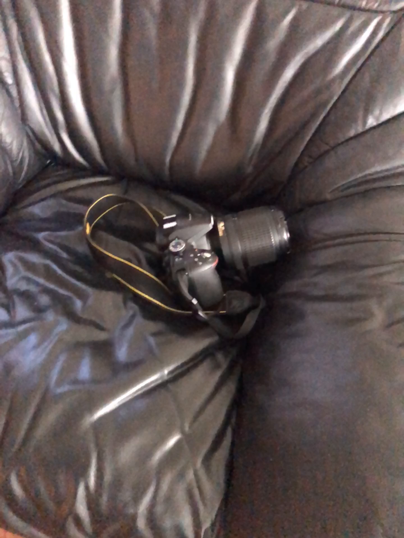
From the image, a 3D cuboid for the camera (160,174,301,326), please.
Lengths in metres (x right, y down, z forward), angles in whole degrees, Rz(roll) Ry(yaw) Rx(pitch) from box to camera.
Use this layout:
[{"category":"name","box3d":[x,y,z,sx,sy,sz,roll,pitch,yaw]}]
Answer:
[{"category":"camera","box3d":[0.041,-0.028,0.659,0.170,0.130,0.140,-13,46,4]}]
